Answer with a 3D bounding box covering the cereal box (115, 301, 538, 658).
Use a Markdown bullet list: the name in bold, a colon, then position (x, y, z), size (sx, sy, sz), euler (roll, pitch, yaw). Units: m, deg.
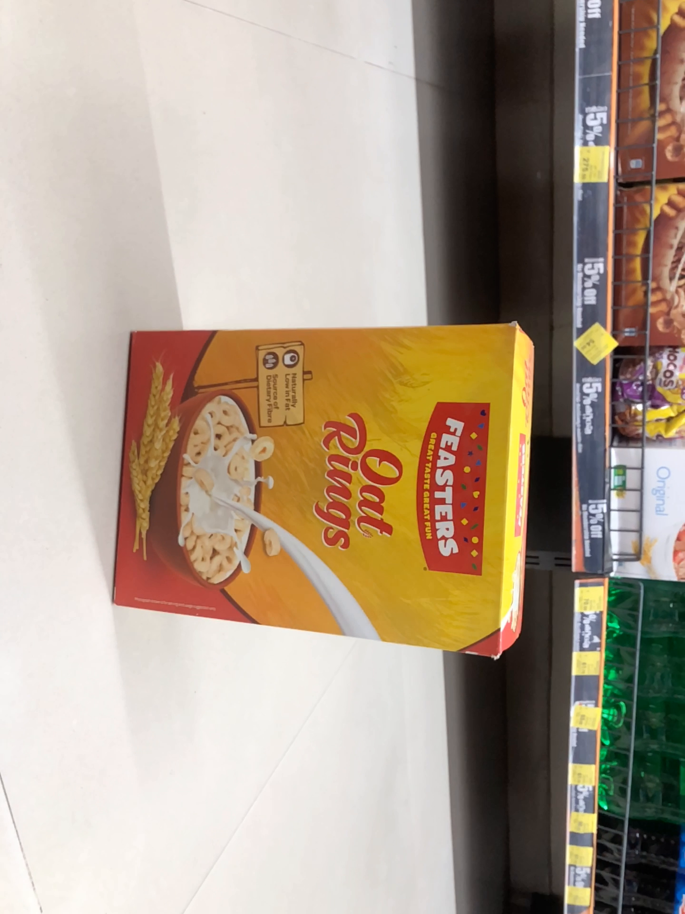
- **cereal box**: position (-0.009, 0.009, 0.430), size (0.070, 0.219, 0.170), euler (13, 79, -70)
